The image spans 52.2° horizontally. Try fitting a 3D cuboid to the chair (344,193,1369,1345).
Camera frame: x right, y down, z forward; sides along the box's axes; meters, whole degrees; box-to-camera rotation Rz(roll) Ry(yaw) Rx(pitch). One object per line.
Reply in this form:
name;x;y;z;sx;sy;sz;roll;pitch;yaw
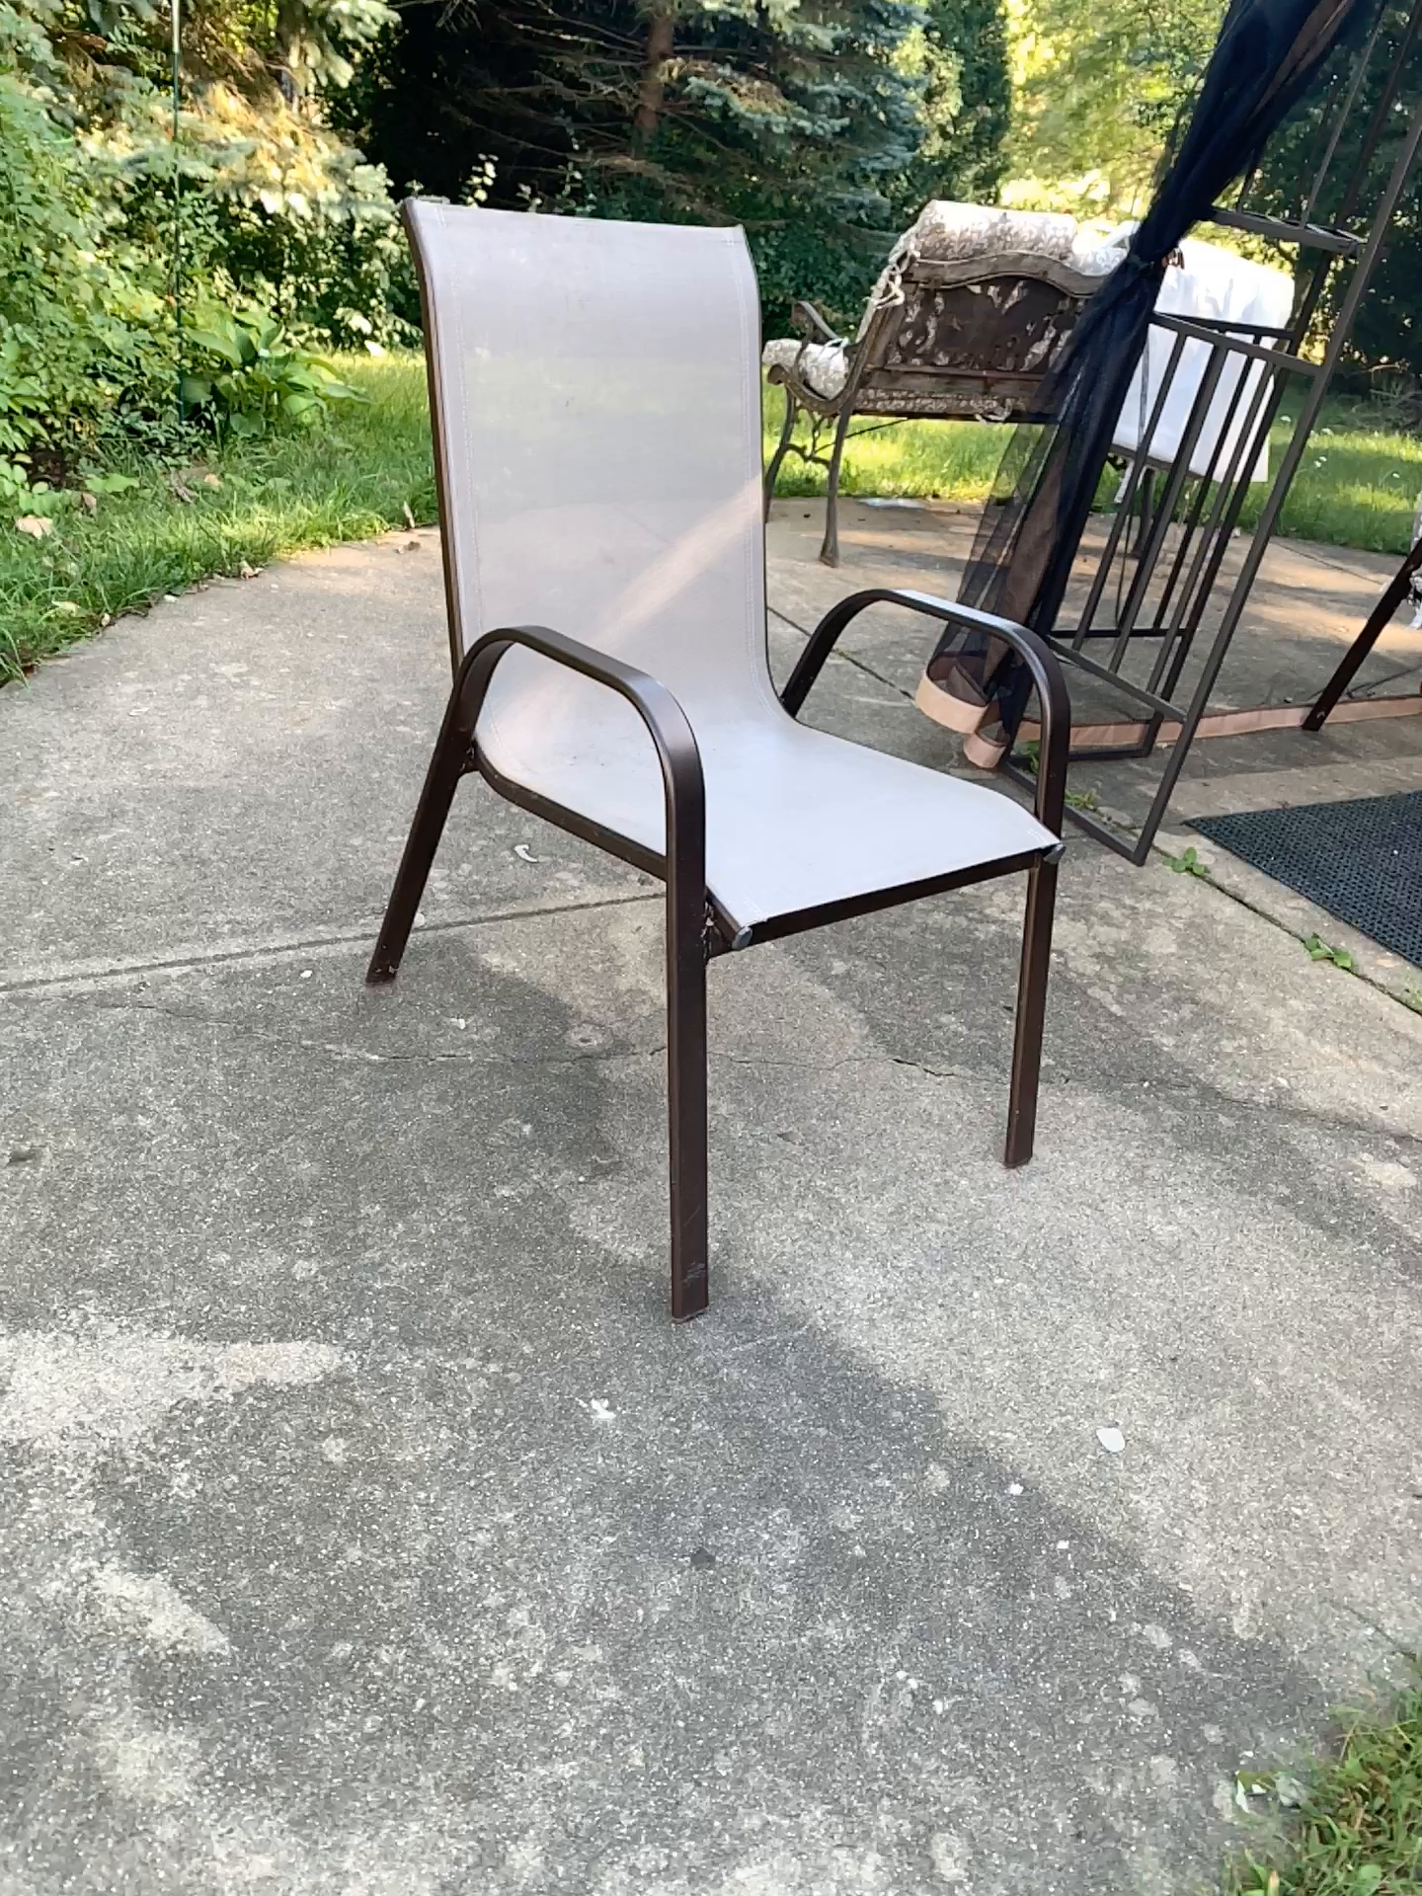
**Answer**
chair;0.051;-0.238;1.517;0.571;0.845;0.743;-15;38;-35
